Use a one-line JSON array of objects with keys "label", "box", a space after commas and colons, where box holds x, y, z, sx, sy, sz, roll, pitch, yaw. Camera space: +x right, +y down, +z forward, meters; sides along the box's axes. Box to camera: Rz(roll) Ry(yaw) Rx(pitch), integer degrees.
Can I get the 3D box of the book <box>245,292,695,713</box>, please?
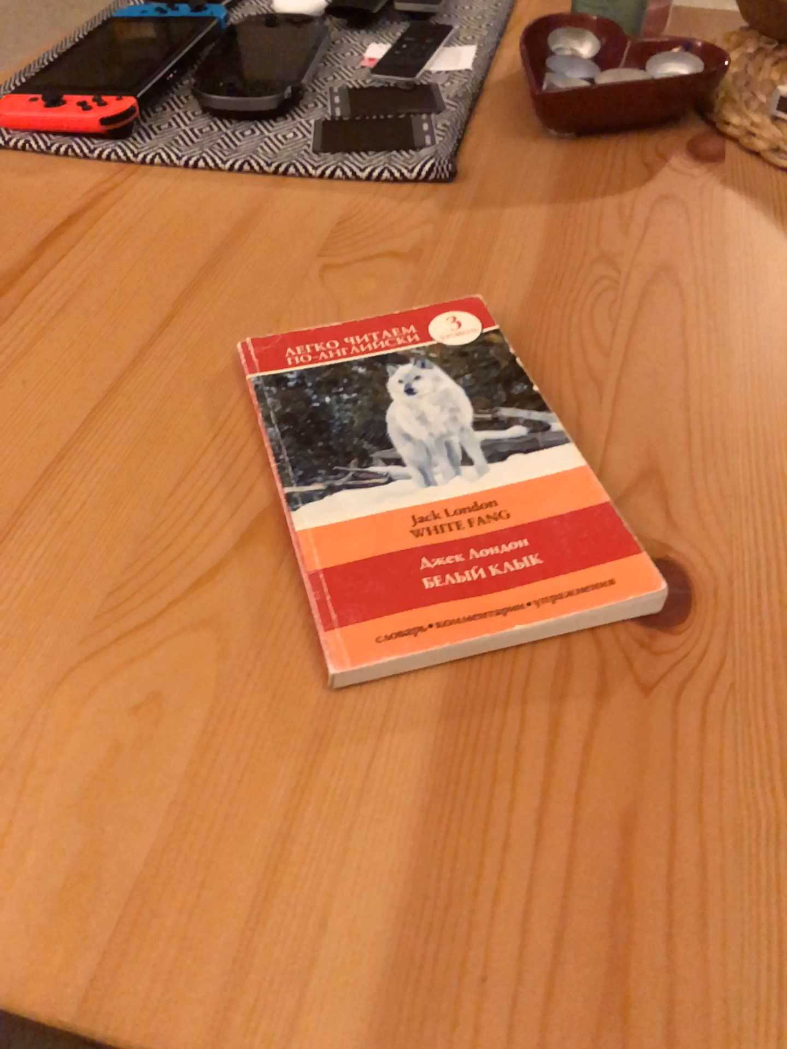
[{"label": "book", "box": [0.018, -0.027, 0.376, 0.129, 0.020, 0.205, -13, 48, -10]}]
